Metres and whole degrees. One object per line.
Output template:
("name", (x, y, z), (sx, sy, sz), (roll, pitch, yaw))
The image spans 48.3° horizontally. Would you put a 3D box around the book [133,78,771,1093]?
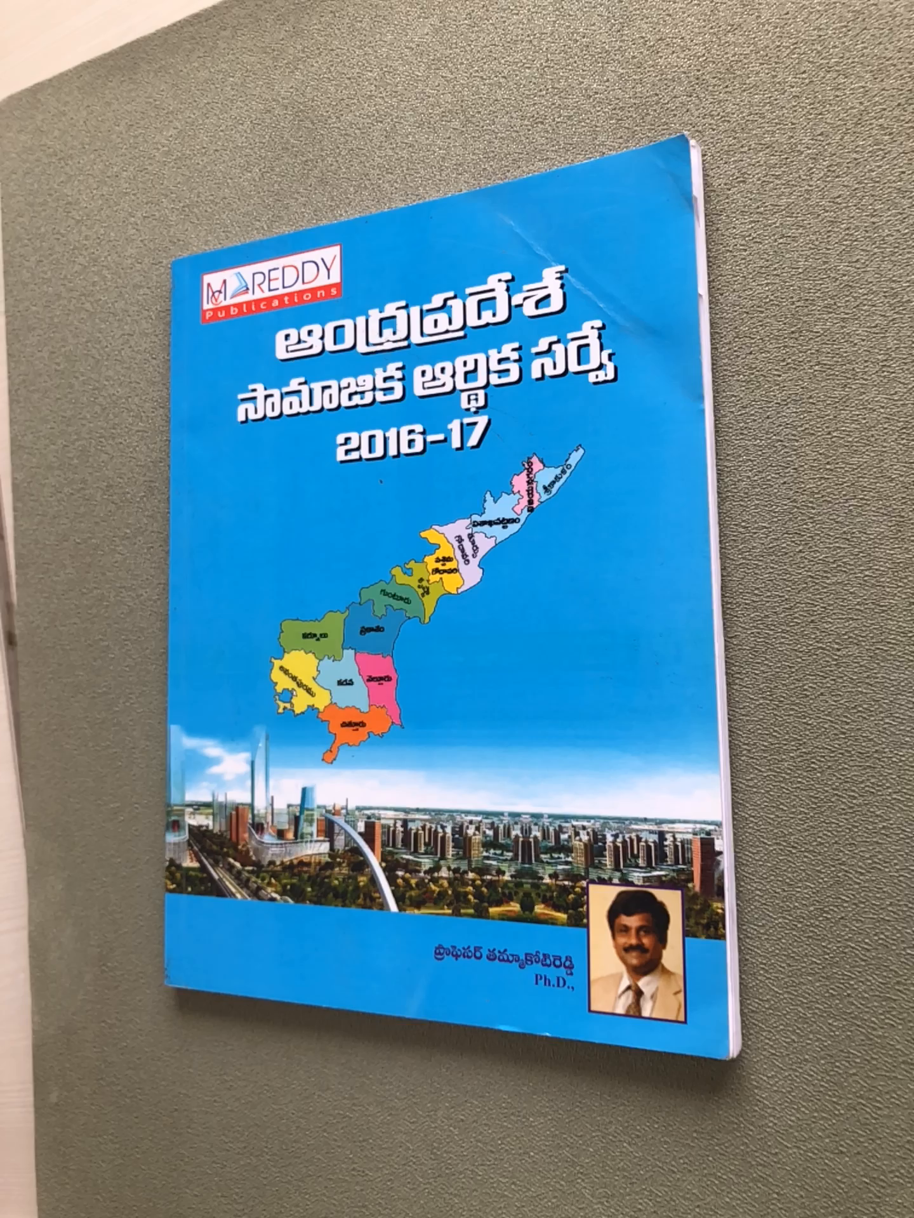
("book", (-0.012, -0.006, 0.286), (0.180, 0.020, 0.240), (-3, 85, 24))
